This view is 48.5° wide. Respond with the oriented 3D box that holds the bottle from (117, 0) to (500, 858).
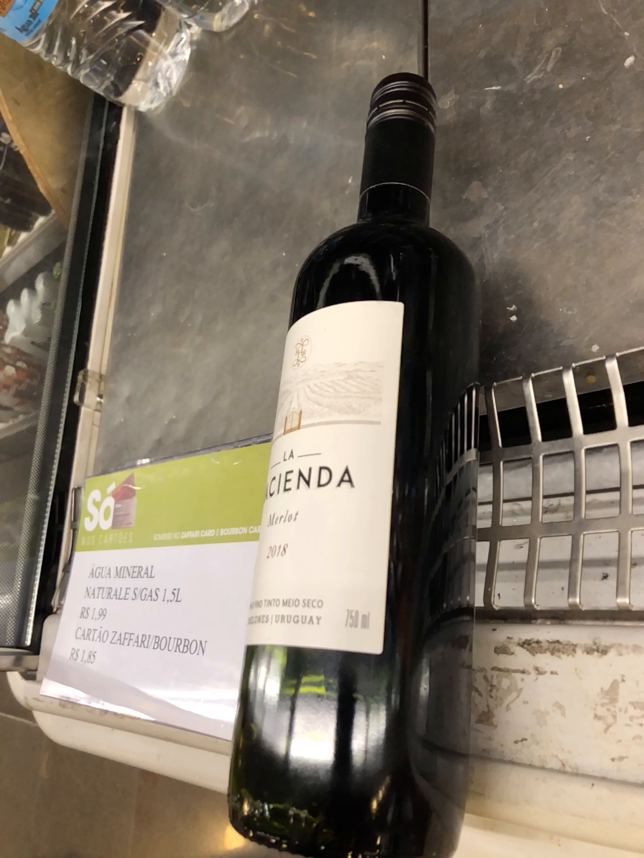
[{"bbox_3d":[0.007,-0.022,0.257,0.080,0.070,0.300,-14,62,44],"label":"bottle"}]
